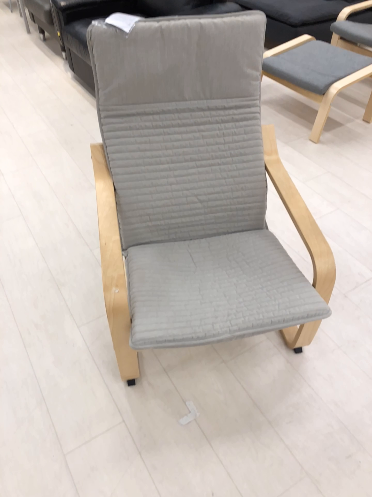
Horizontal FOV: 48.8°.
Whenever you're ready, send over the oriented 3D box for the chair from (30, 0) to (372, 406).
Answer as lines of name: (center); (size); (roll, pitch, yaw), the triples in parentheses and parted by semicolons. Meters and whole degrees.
chair: (0.075, -0.148, 1.238); (0.730, 0.996, 0.703); (-7, 44, -7)
